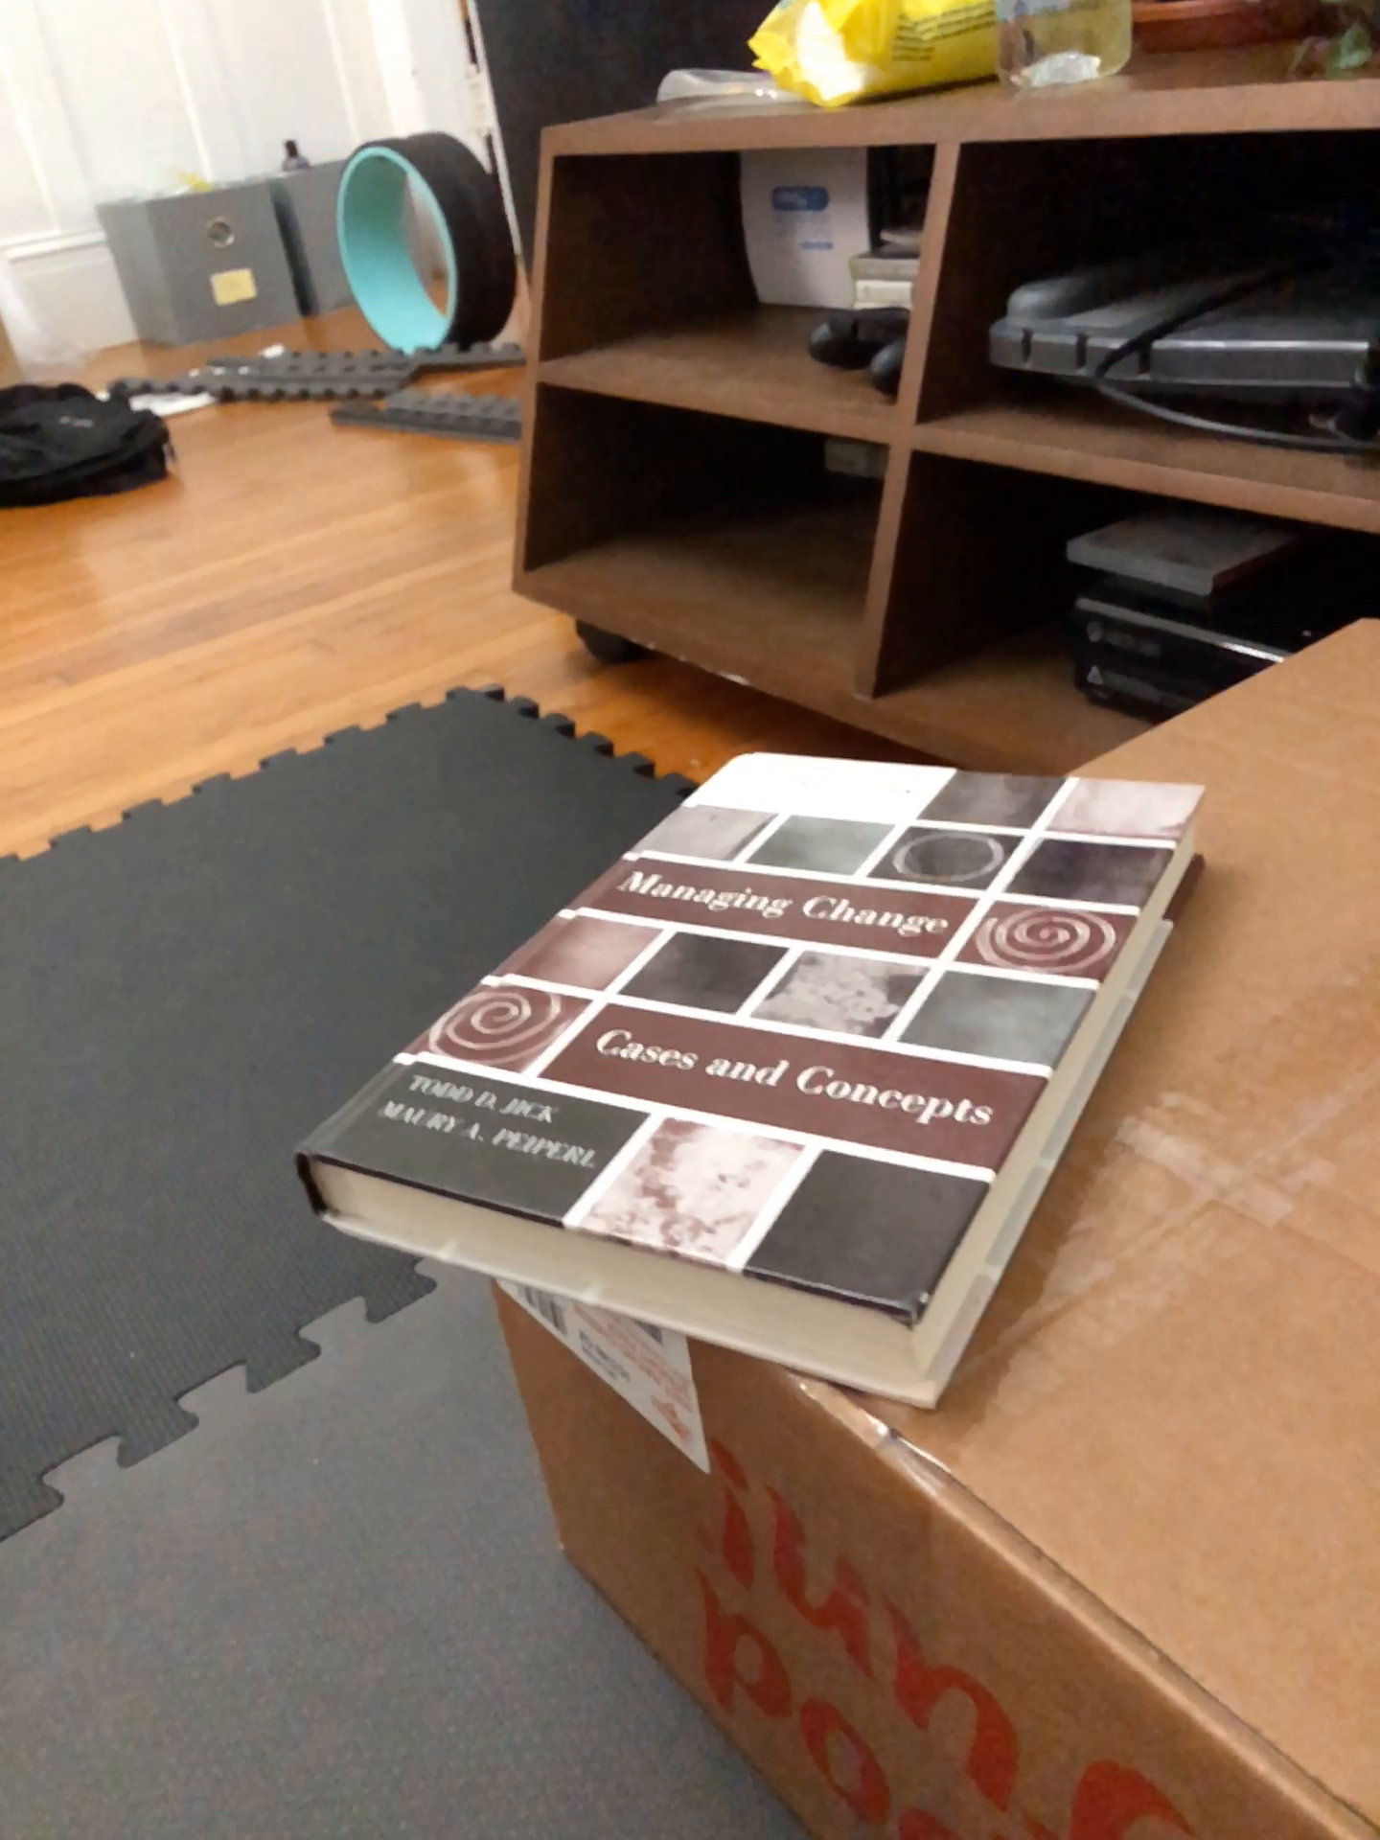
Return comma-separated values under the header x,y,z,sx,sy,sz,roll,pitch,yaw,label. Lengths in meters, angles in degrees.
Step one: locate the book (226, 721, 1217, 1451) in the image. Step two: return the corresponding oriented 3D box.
x,y,z,sx,sy,sz,roll,pitch,yaw,label
0.026,0.016,0.428,0.180,0.030,0.251,9,35,28,book
